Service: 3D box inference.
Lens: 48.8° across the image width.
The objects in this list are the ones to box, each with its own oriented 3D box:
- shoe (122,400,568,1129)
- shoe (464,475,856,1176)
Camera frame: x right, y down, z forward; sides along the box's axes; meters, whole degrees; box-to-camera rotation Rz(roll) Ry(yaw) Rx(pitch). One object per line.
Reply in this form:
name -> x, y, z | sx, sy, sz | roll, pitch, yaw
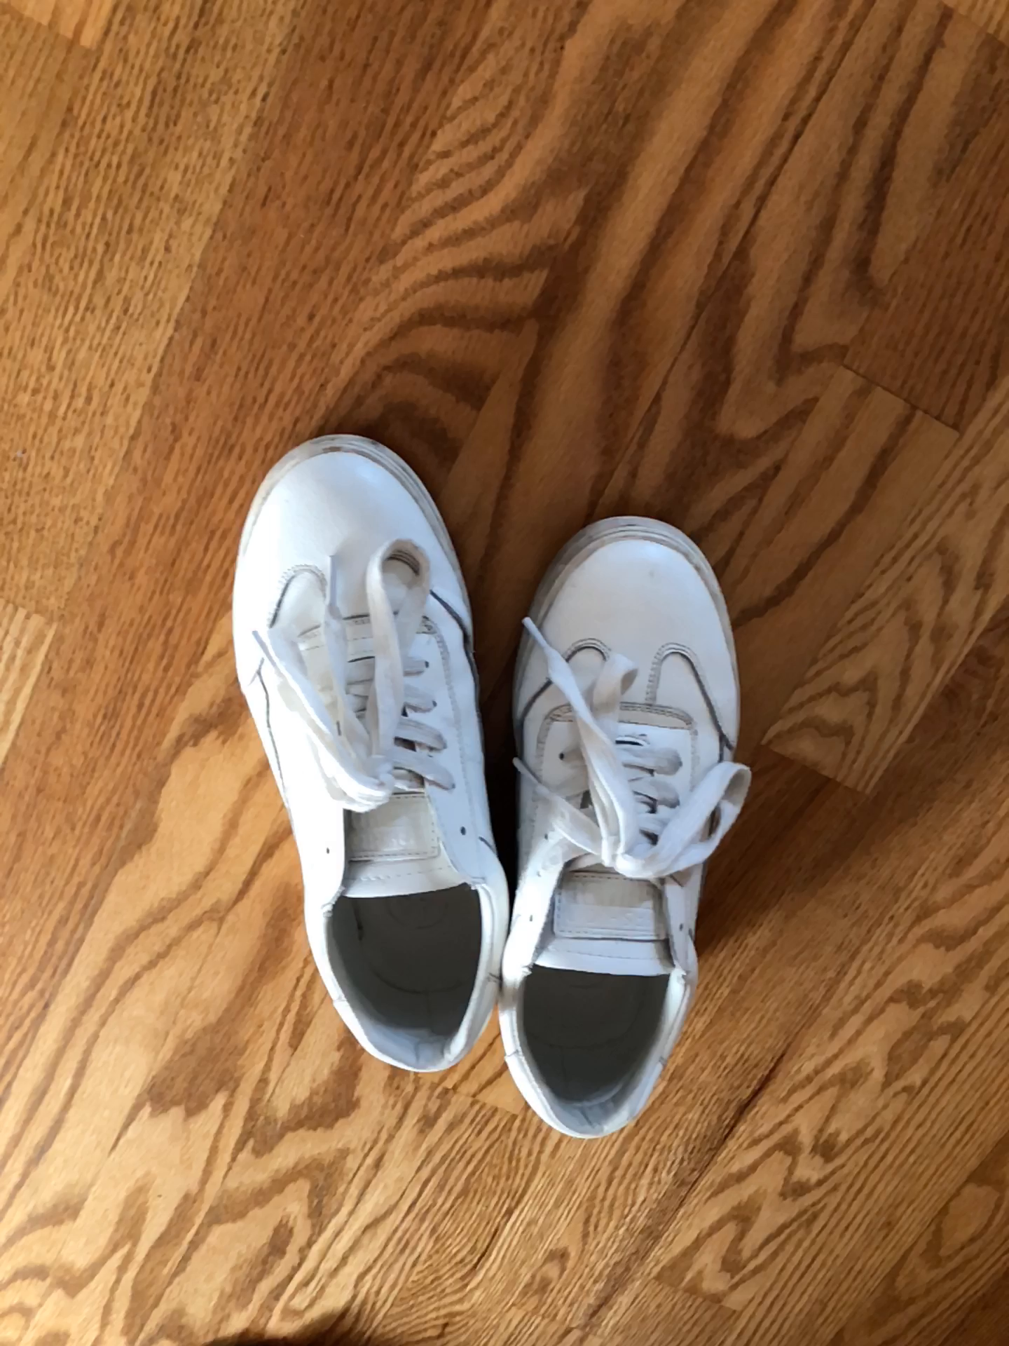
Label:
shoe -> -0.050, 0.037, 0.449 | 0.102, 0.104, 0.260 | -10, 111, 2
shoe -> 0.048, 0.063, 0.460 | 0.102, 0.107, 0.260 | 6, 111, -4
